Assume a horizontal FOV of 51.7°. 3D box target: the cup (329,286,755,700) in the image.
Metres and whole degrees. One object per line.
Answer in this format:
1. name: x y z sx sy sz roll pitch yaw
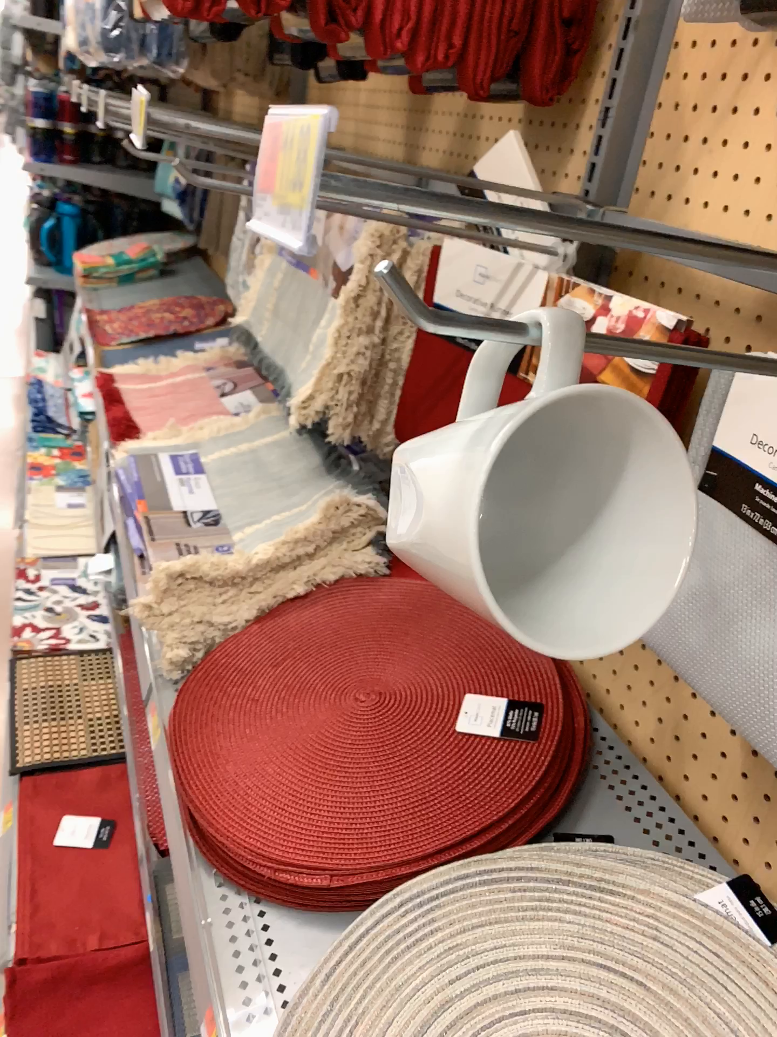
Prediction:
1. cup: 0.043 -0.021 0.307 0.090 0.120 0.140 -2 14 -21
